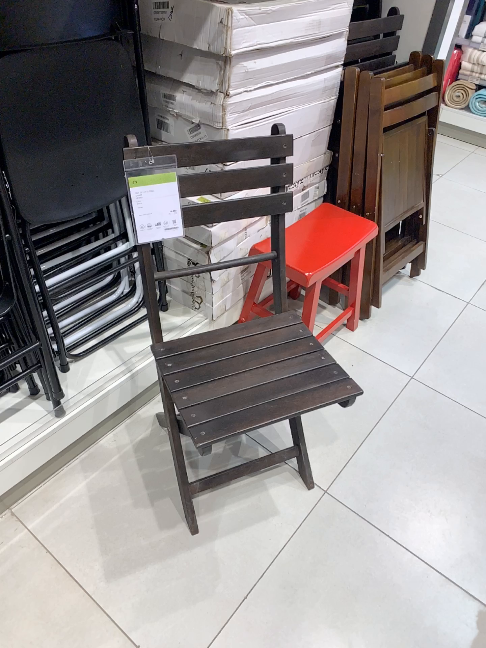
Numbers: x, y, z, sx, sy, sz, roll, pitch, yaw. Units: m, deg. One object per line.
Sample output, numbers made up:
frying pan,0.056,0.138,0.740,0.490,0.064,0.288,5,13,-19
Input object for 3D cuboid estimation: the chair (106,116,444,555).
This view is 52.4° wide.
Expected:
chair,-0.007,0.032,1.115,0.420,0.797,0.482,-13,43,-22
